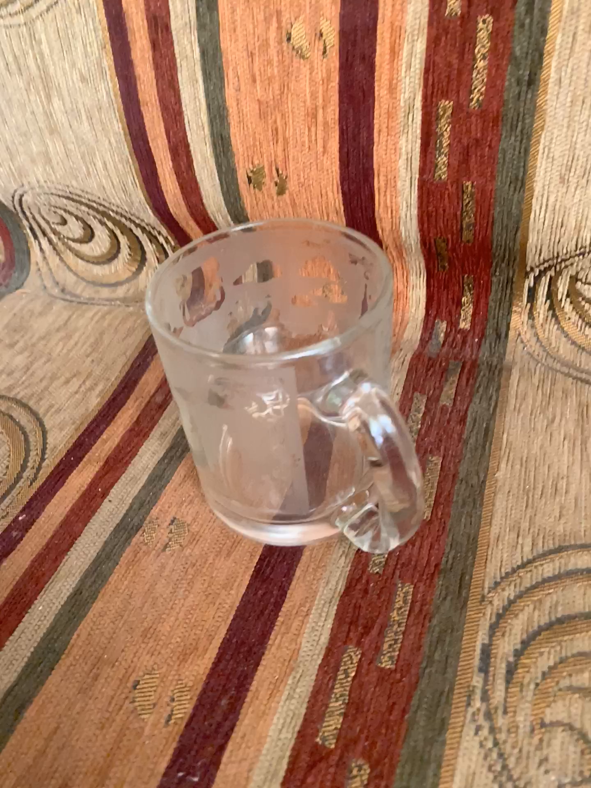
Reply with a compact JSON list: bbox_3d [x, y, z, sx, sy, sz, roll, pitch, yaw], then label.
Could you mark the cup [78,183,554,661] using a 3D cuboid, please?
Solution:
[{"bbox_3d":[0.003,0.000,0.207,0.084,0.086,0.115,-31,48,-26],"label":"cup"}]
